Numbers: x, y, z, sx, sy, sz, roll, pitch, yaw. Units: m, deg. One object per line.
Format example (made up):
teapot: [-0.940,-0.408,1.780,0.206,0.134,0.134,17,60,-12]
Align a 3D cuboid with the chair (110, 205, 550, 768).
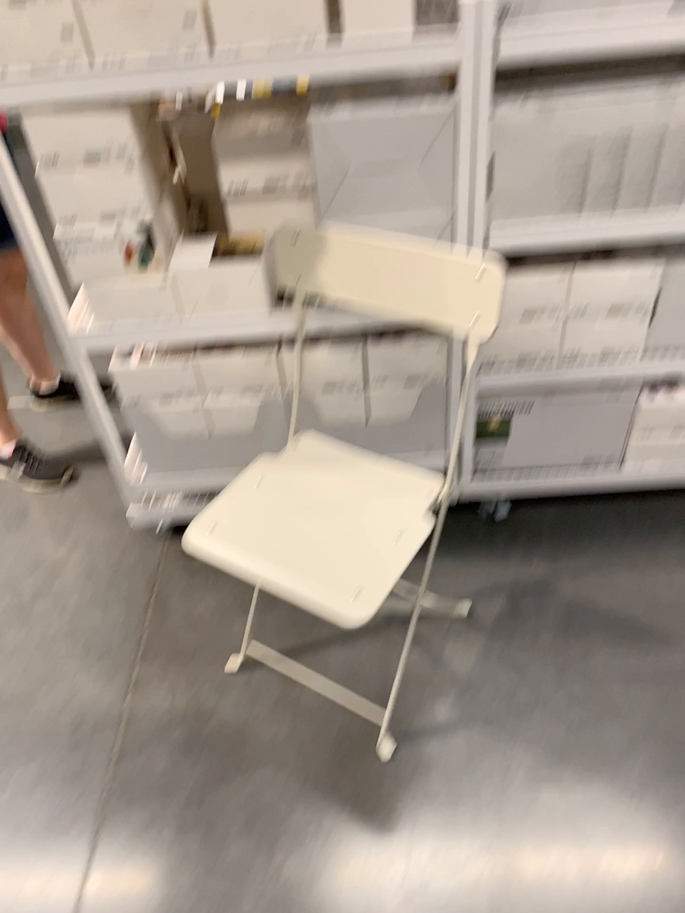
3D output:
chair: [0.028,0.059,1.223,0.438,0.783,0.458,19,47,26]
